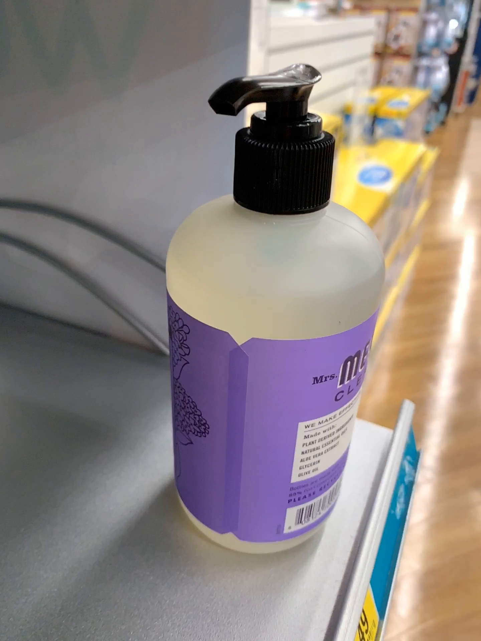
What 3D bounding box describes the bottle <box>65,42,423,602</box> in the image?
[{"bbox_3d":[0.008,0.002,0.172,0.070,0.159,0.080,10,34,14],"label":"bottle"}]
